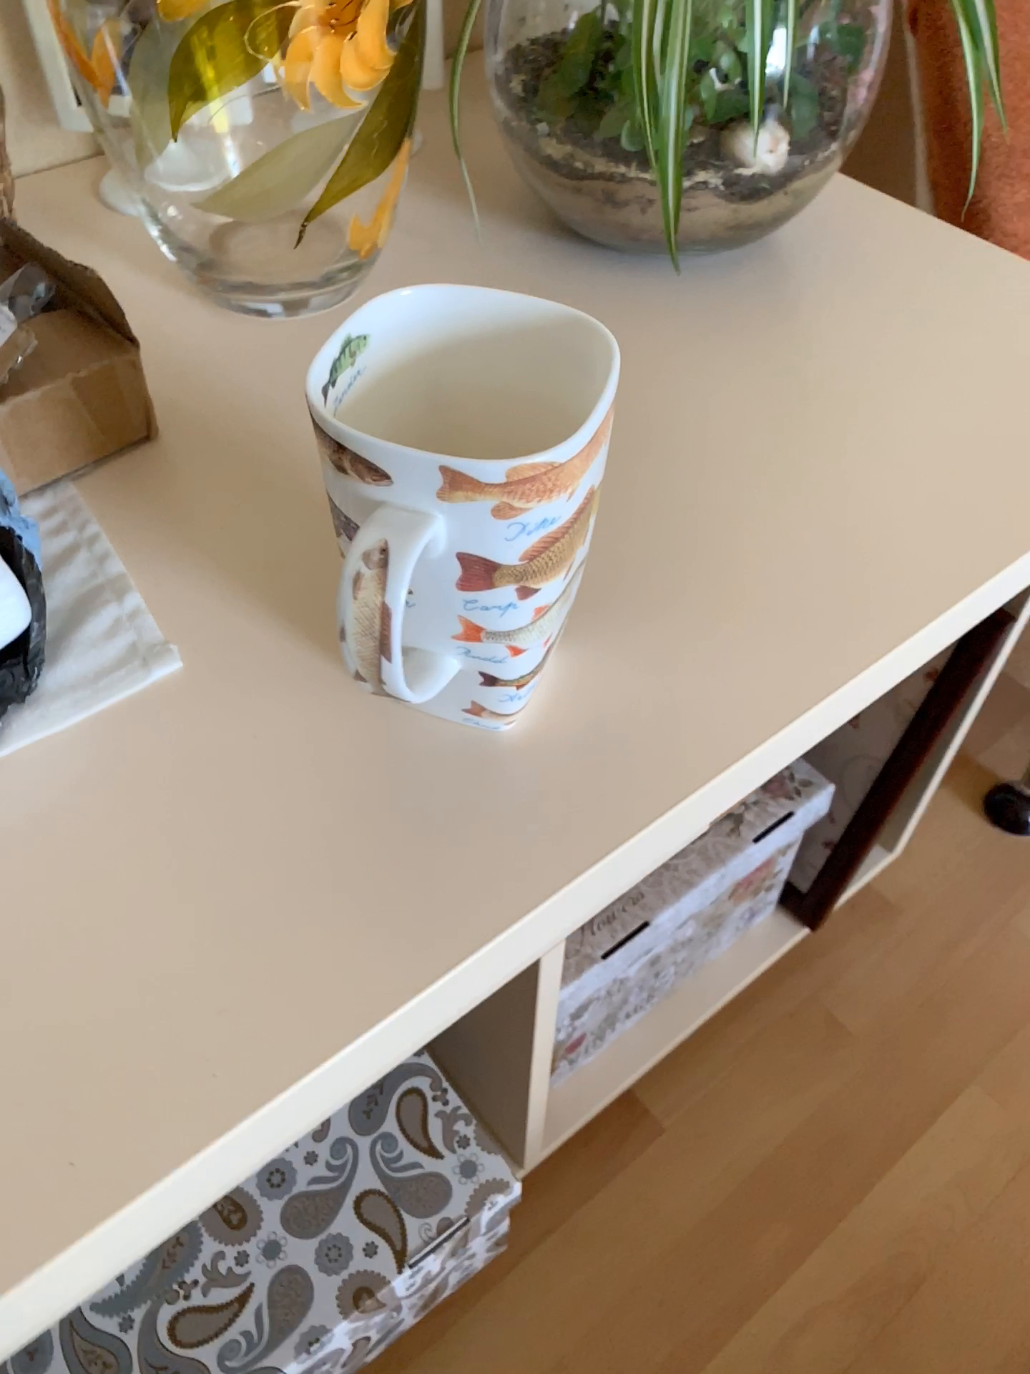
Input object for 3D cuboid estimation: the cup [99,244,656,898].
[{"bbox_3d":[-0.031,-0.040,0.343,0.100,0.129,0.141,18,51,14],"label":"cup"}]
